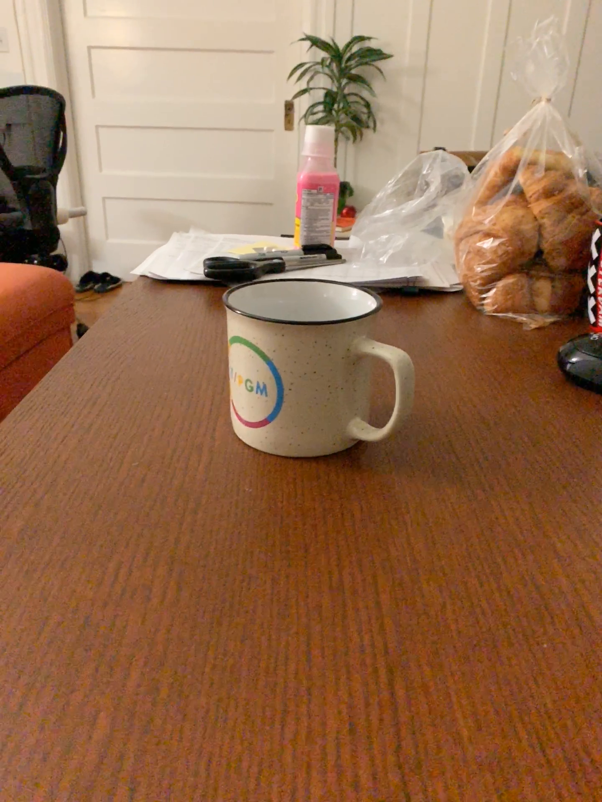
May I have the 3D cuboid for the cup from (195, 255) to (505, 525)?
[{"bbox_3d":[0.023,-0.020,0.378,0.100,0.099,0.151,-21,33,-40],"label":"cup"}]
